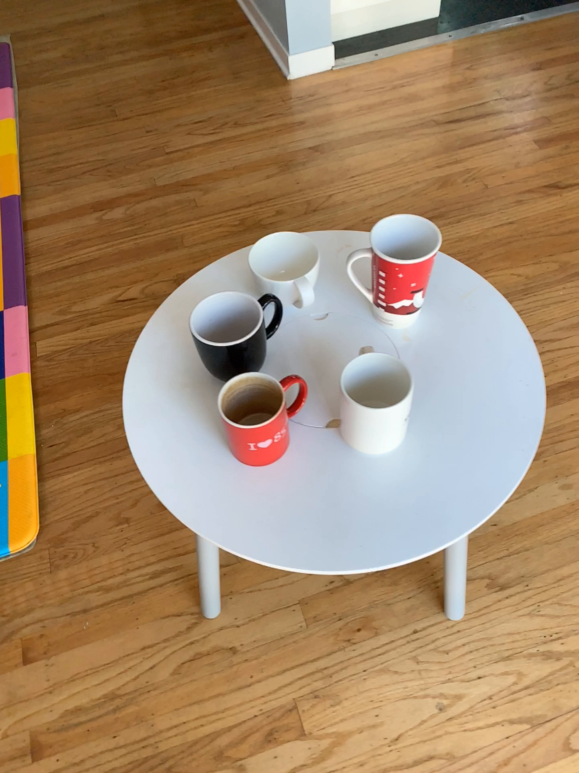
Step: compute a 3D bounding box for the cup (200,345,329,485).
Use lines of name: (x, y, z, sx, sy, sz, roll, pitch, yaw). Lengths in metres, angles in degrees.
cup: (-0.026, 0.033, 0.700, 0.120, 0.090, 0.080, -34, 59, -18)

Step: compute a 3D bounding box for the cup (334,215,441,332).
cup: (0.128, -0.152, 0.811, 0.130, 0.120, 0.100, 2, 55, 5)

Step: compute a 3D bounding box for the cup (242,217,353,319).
cup: (0.010, -0.163, 0.804, 0.100, 0.040, 0.120, -27, 57, -14)

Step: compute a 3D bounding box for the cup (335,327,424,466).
cup: (0.101, 0.013, 0.707, 0.090, 0.100, 0.130, -1, 55, 4)

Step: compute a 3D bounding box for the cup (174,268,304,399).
cup: (-0.062, -0.070, 0.766, 0.130, 0.080, 0.090, -34, 59, -18)
